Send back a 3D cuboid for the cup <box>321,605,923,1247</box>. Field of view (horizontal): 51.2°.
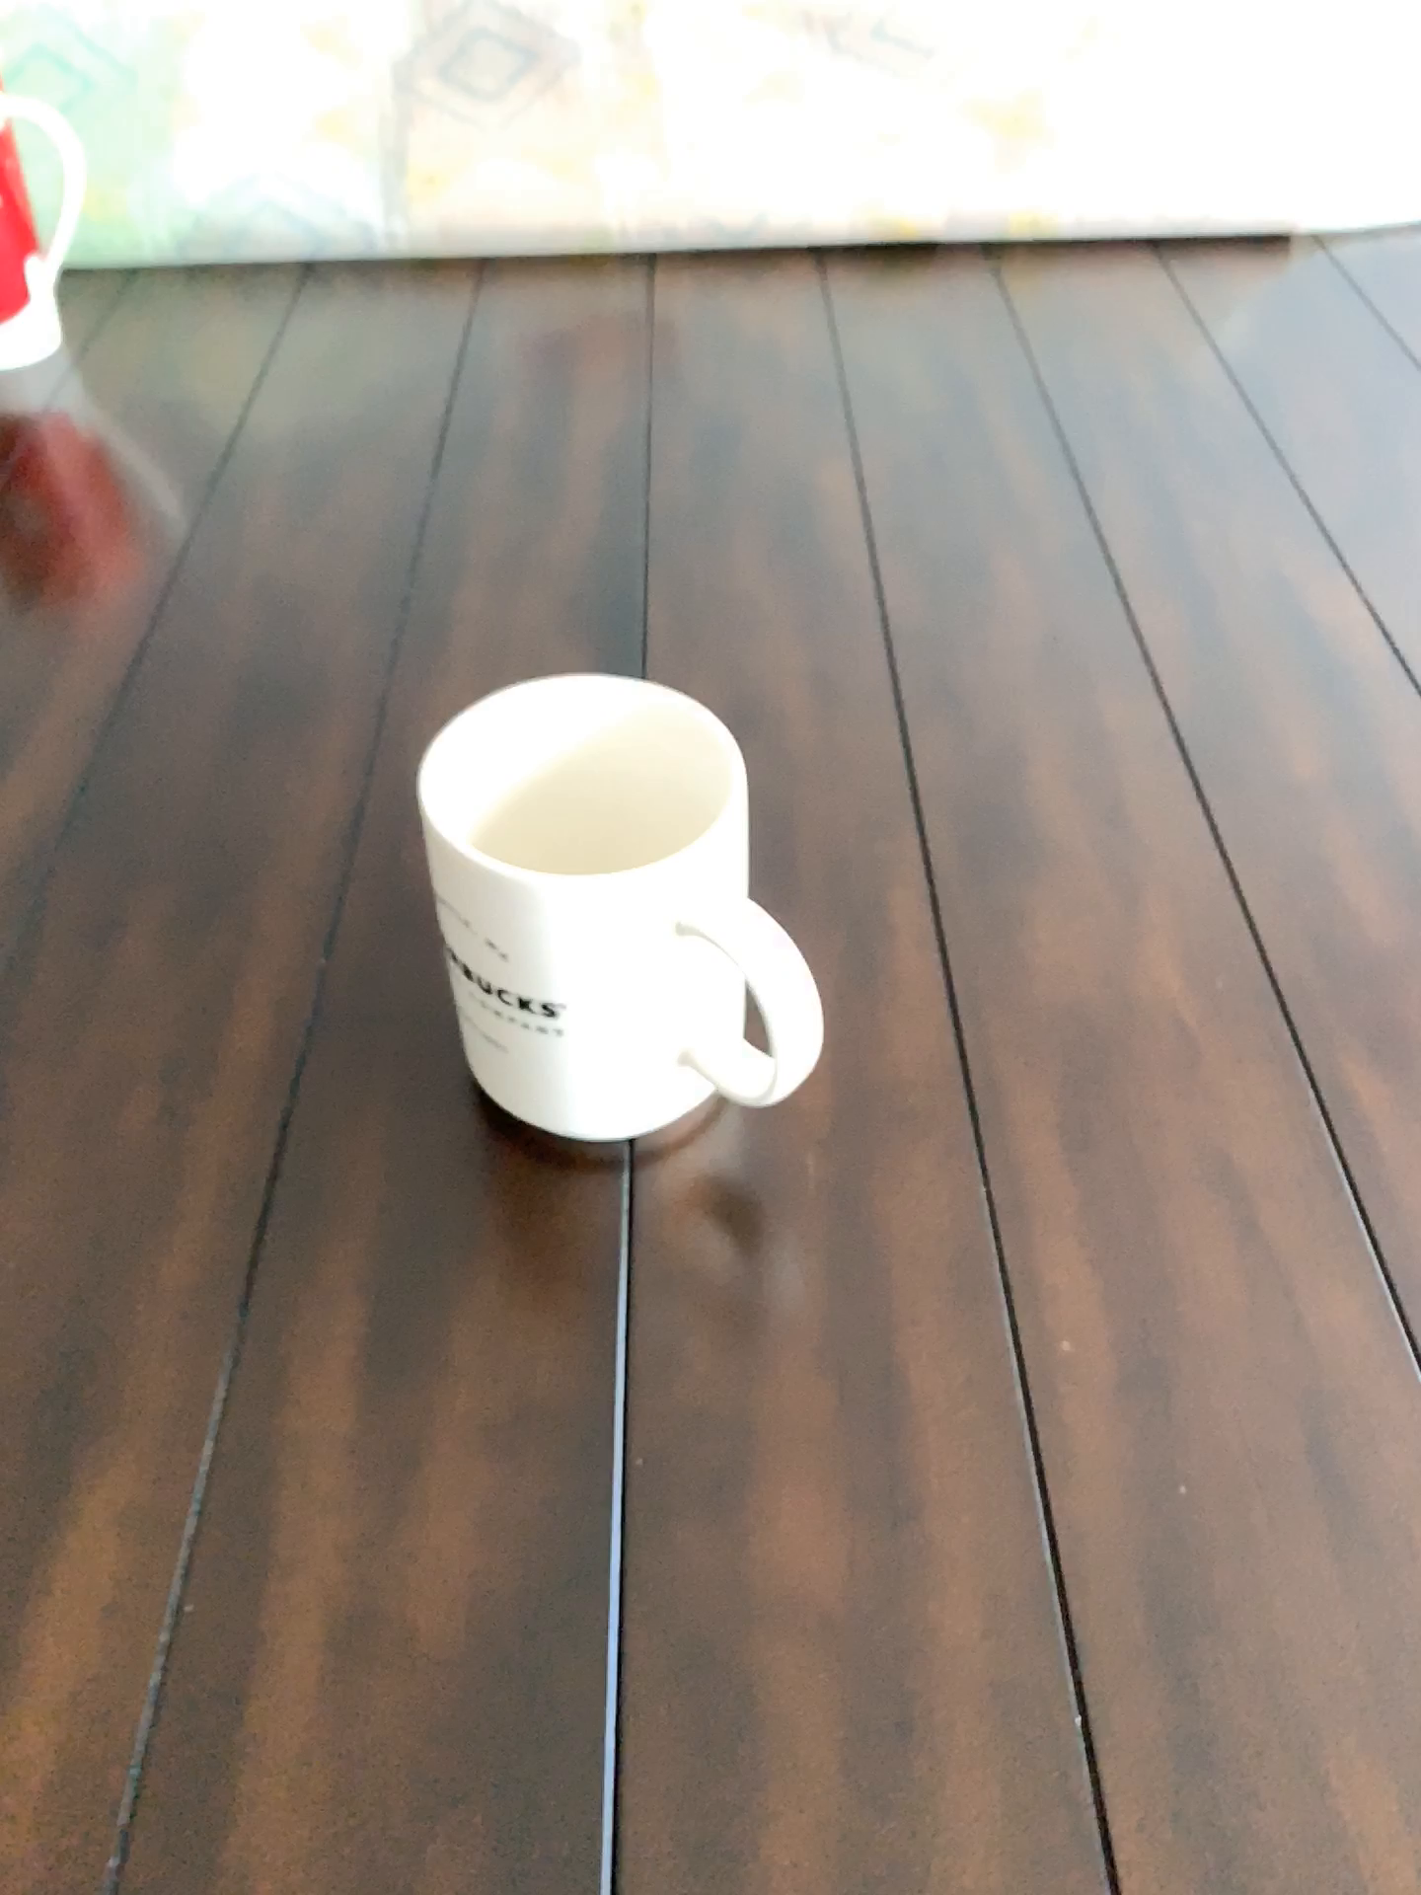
[{"bbox_3d":[-0.024,-0.008,0.429,0.130,0.110,0.090,31,55,24],"label":"cup"}]
